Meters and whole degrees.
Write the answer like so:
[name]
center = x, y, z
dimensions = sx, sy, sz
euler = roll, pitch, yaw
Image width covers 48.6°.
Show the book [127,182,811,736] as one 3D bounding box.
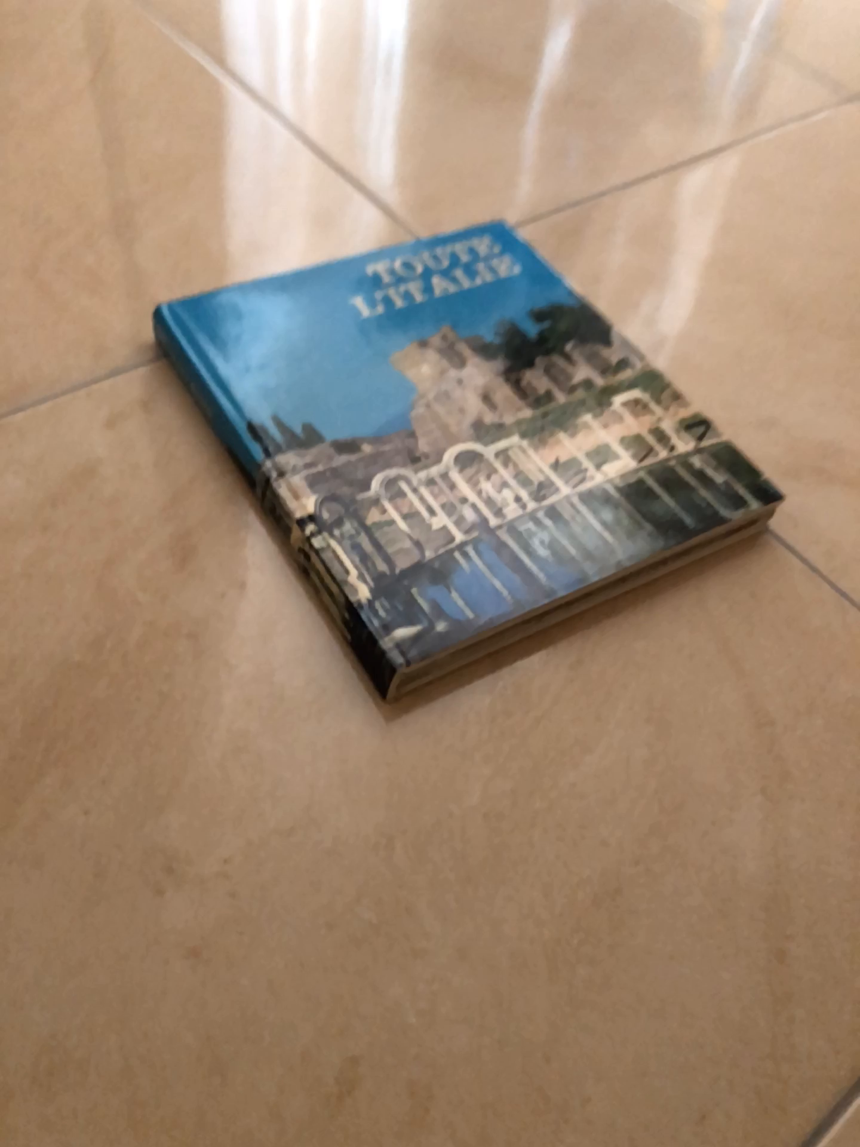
[book]
center = 0.011, -0.090, 0.514
dimensions = 0.241, 0.050, 0.290
euler = -23, 59, -24
